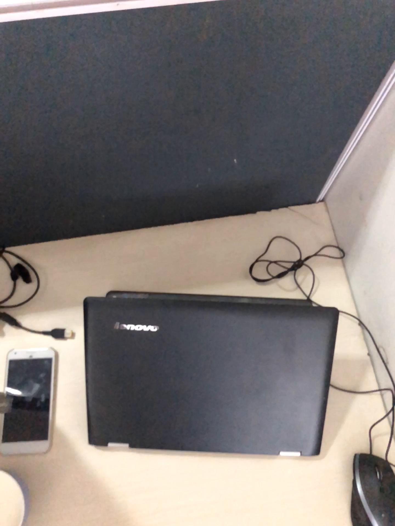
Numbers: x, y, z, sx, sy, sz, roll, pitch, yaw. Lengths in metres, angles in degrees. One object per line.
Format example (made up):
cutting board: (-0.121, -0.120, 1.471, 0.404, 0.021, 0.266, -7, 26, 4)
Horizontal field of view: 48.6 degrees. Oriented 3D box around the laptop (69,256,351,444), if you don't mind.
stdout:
laptop: (0.016, 0.124, 0.586, 0.324, 0.143, 0.204, 3, 77, 0)
